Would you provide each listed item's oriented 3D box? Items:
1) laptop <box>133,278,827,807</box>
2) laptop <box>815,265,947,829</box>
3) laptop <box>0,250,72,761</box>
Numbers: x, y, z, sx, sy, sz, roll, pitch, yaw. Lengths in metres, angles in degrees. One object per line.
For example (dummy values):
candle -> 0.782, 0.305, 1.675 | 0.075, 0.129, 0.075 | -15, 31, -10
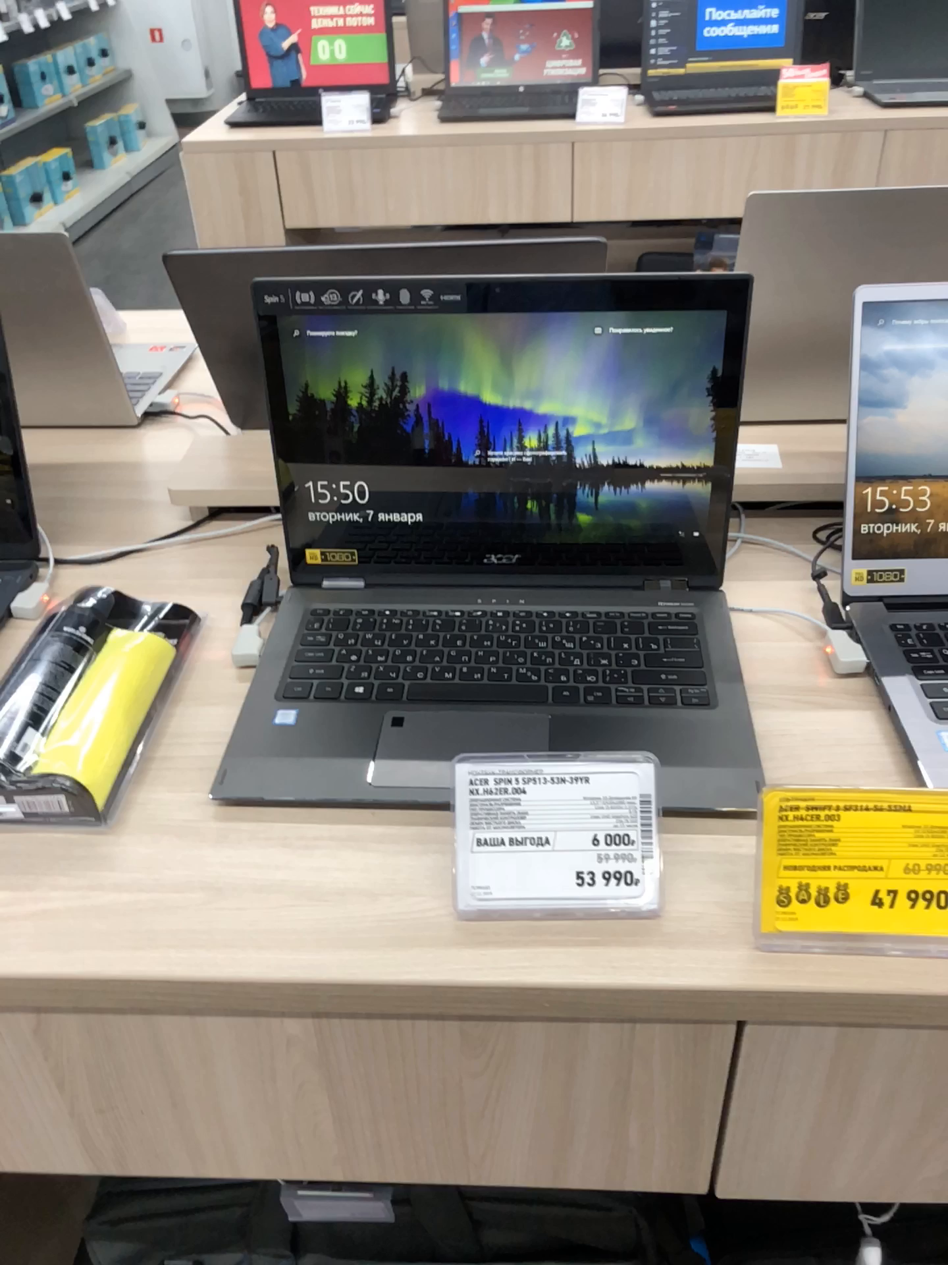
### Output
laptop -> 0.011, -0.066, 0.632 | 0.314, 0.215, 0.246 | 1, 36, 4
laptop -> 0.395, -0.064, 0.610 | 0.270, 0.196, 0.300 | -2, 35, 4
laptop -> -0.521, -0.097, 0.707 | 0.340, 0.215, 0.289 | -1, 36, 4
